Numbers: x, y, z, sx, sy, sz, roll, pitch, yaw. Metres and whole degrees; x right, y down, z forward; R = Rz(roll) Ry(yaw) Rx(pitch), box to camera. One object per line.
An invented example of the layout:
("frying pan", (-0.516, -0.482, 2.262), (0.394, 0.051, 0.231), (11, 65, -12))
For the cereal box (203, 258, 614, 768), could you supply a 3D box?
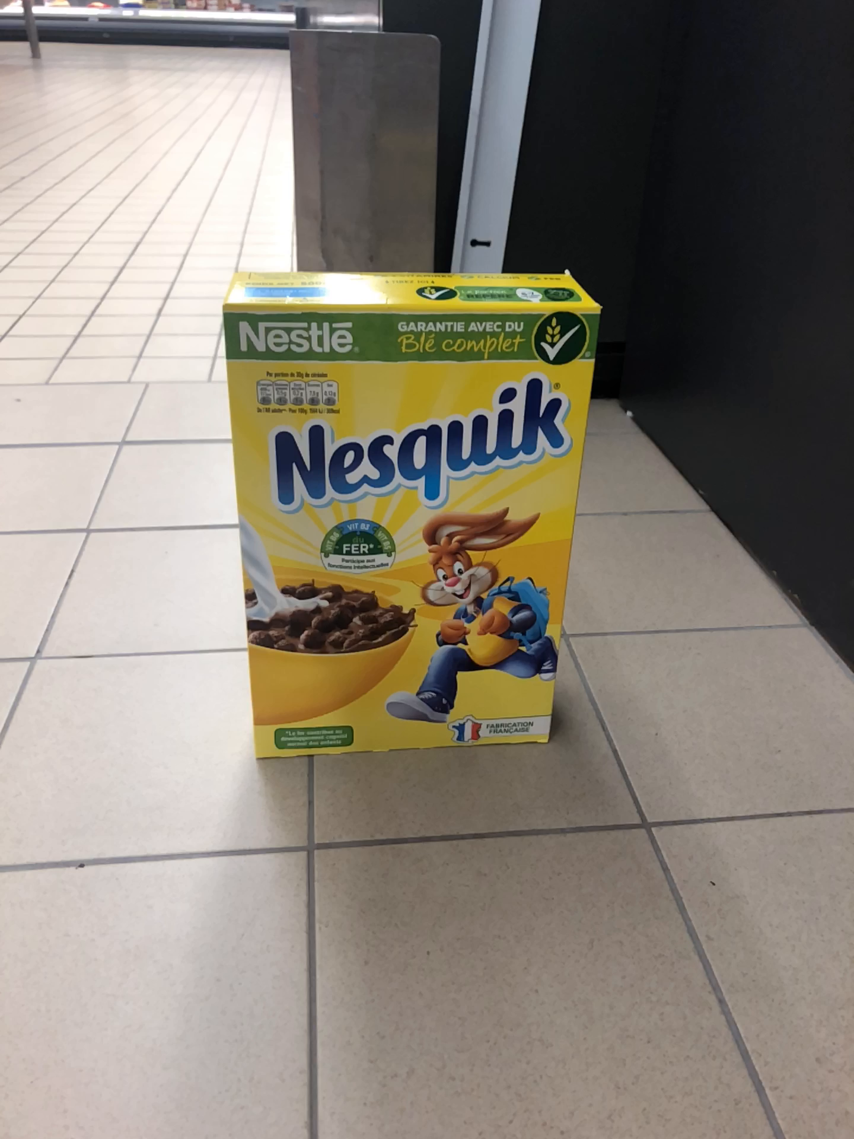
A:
("cereal box", (-0.014, -0.024, 0.560), (0.200, 0.298, 0.070), (-2, 30, -6))
